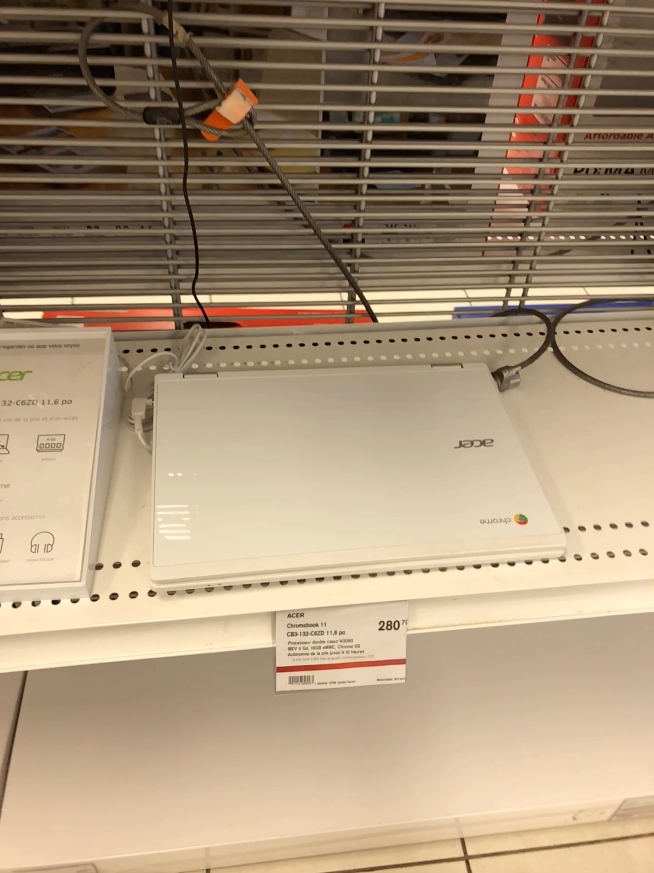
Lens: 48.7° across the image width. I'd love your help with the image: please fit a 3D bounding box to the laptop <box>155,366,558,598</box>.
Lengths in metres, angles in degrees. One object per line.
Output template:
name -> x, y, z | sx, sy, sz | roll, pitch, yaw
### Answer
laptop -> 0.012, 0.025, 0.571 | 0.286, 0.024, 0.184 | -3, 53, -8
